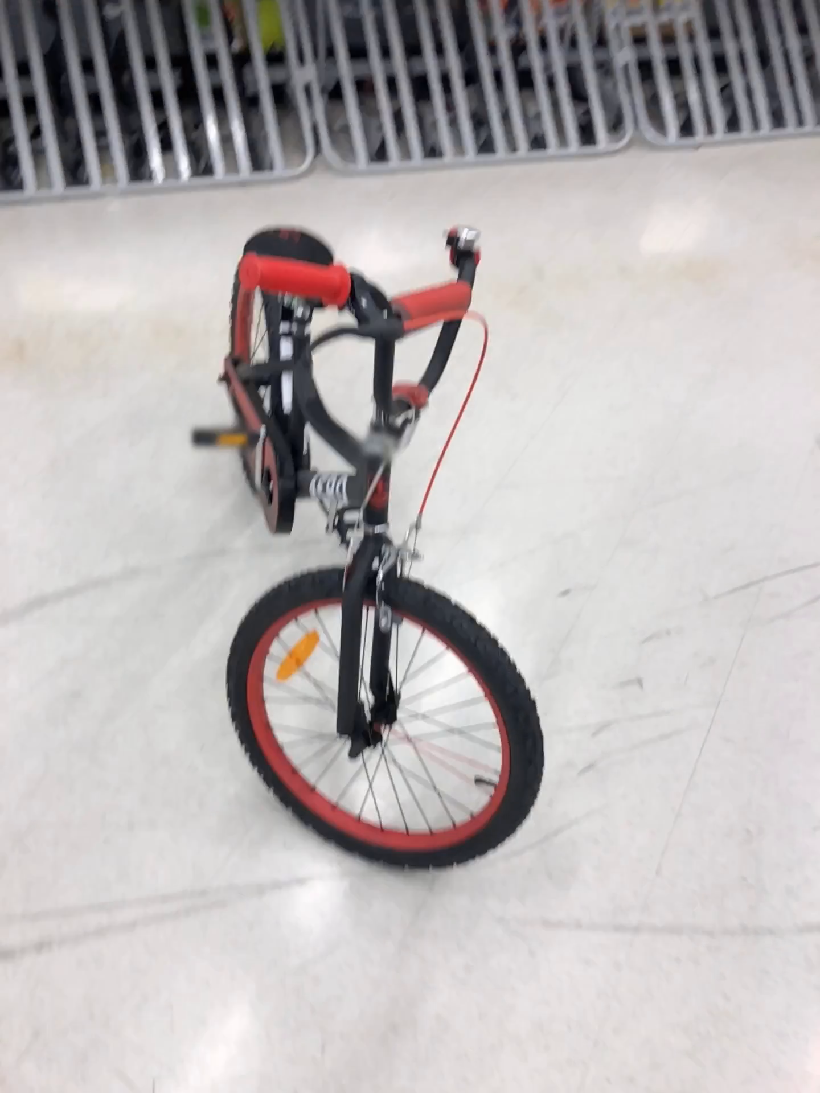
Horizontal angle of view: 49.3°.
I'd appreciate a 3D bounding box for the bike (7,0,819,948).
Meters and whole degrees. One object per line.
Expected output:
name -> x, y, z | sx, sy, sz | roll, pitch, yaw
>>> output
bike -> -0.072, -0.234, 1.416 | 0.625, 0.924, 1.252 | -17, 50, -18
